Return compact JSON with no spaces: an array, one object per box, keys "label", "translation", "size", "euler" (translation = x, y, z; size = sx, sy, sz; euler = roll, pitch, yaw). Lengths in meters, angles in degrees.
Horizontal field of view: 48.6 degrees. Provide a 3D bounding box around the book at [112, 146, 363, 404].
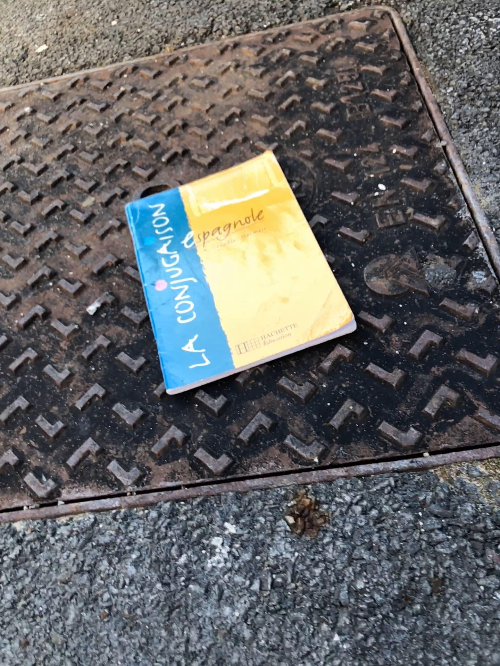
[{"label":"book","translation":[-0.020,-0.054,0.408],"size":[0.140,0.017,0.188],"euler":[-19,55,-1]}]
